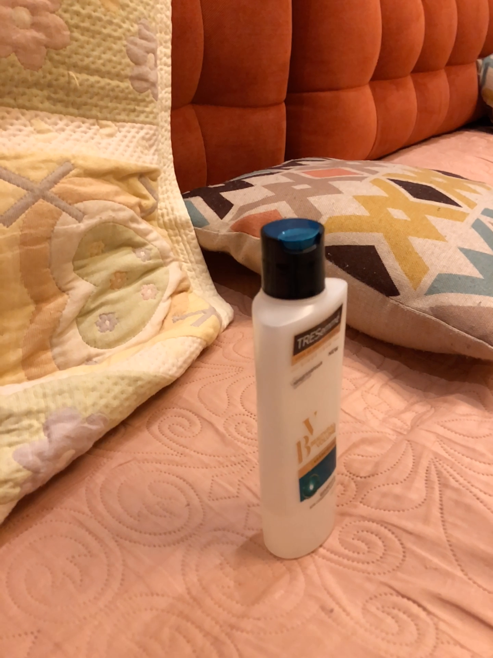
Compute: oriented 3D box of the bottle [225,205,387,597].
[{"bbox_3d":[0.030,0.043,0.292,0.040,0.199,0.070,21,35,35],"label":"bottle"}]
